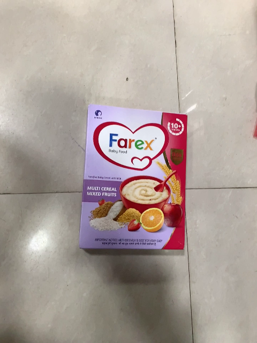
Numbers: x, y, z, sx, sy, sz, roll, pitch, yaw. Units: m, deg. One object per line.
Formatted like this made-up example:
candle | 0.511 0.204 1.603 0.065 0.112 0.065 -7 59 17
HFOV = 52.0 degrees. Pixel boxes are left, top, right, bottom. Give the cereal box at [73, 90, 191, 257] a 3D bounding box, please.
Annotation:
cereal box | 0.004 0.006 0.373 0.150 0.060 0.210 4 83 -12
